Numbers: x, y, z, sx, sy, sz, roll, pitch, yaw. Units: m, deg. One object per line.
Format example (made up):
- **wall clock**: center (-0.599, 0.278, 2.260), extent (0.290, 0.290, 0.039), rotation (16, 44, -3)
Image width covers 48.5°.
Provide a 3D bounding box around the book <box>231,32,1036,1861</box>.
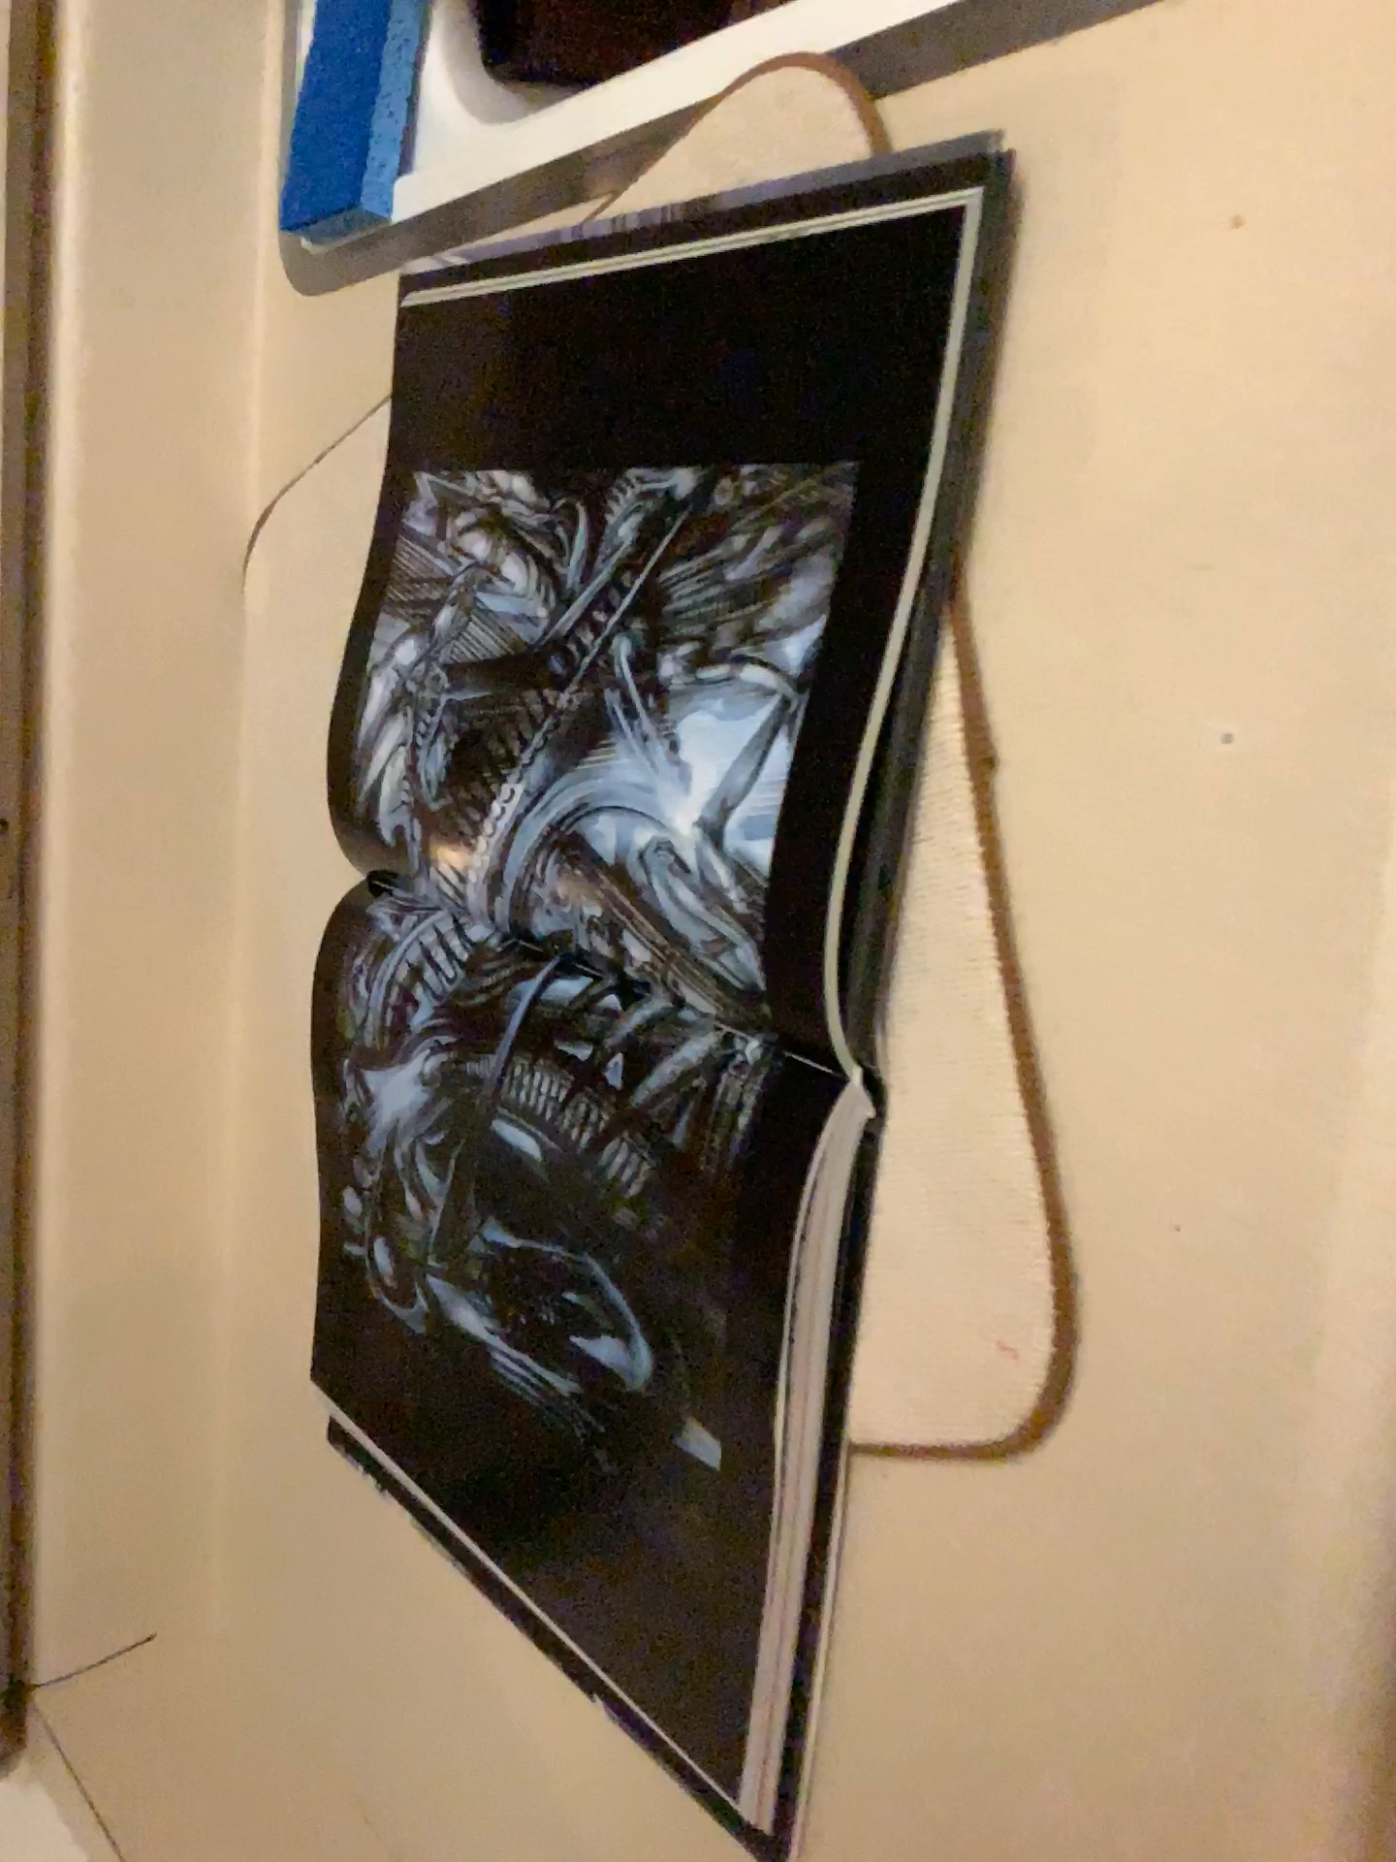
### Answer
- **book**: center (-0.067, 0.004, 0.568), extent (0.350, 0.040, 0.530), rotation (19, 106, 49)
